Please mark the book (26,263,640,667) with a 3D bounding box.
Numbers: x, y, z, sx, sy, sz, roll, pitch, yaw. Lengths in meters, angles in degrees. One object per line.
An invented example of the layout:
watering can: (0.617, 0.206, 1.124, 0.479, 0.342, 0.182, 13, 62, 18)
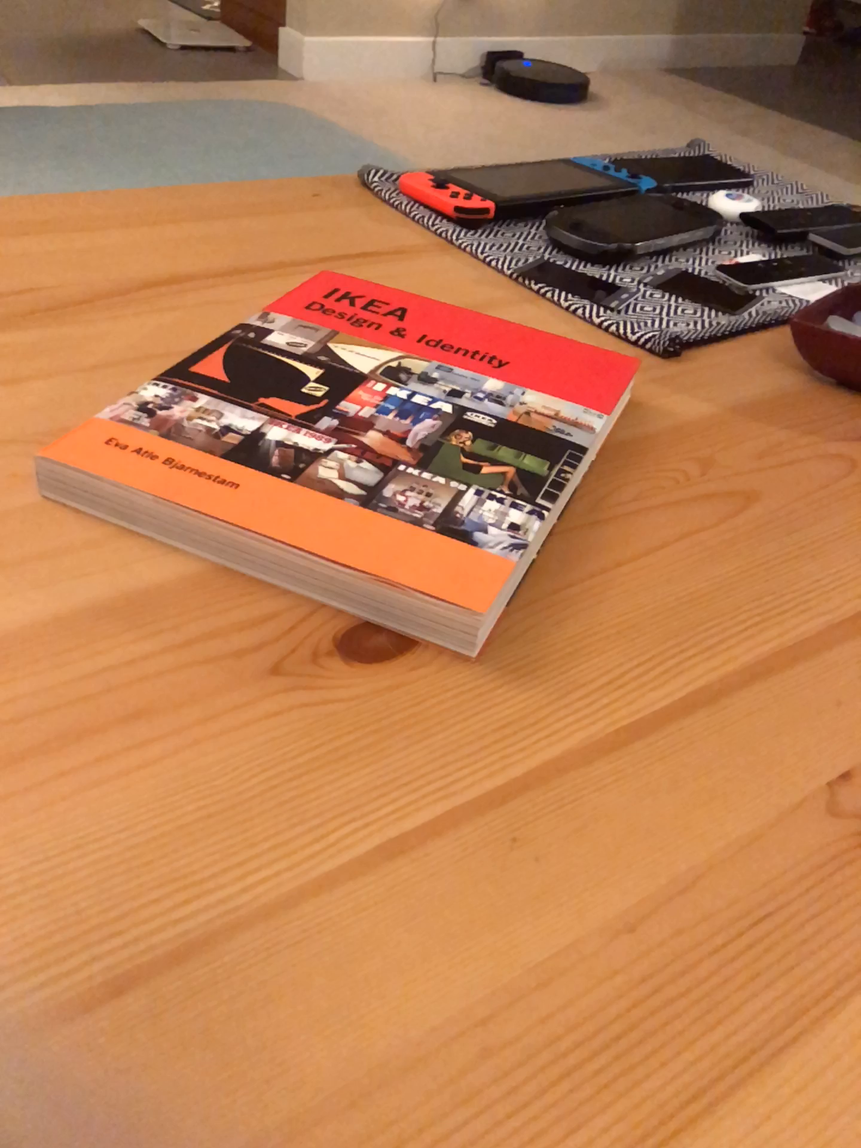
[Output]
book: (-0.029, -0.080, 0.489, 0.216, 0.030, 0.256, 20, 40, 14)
